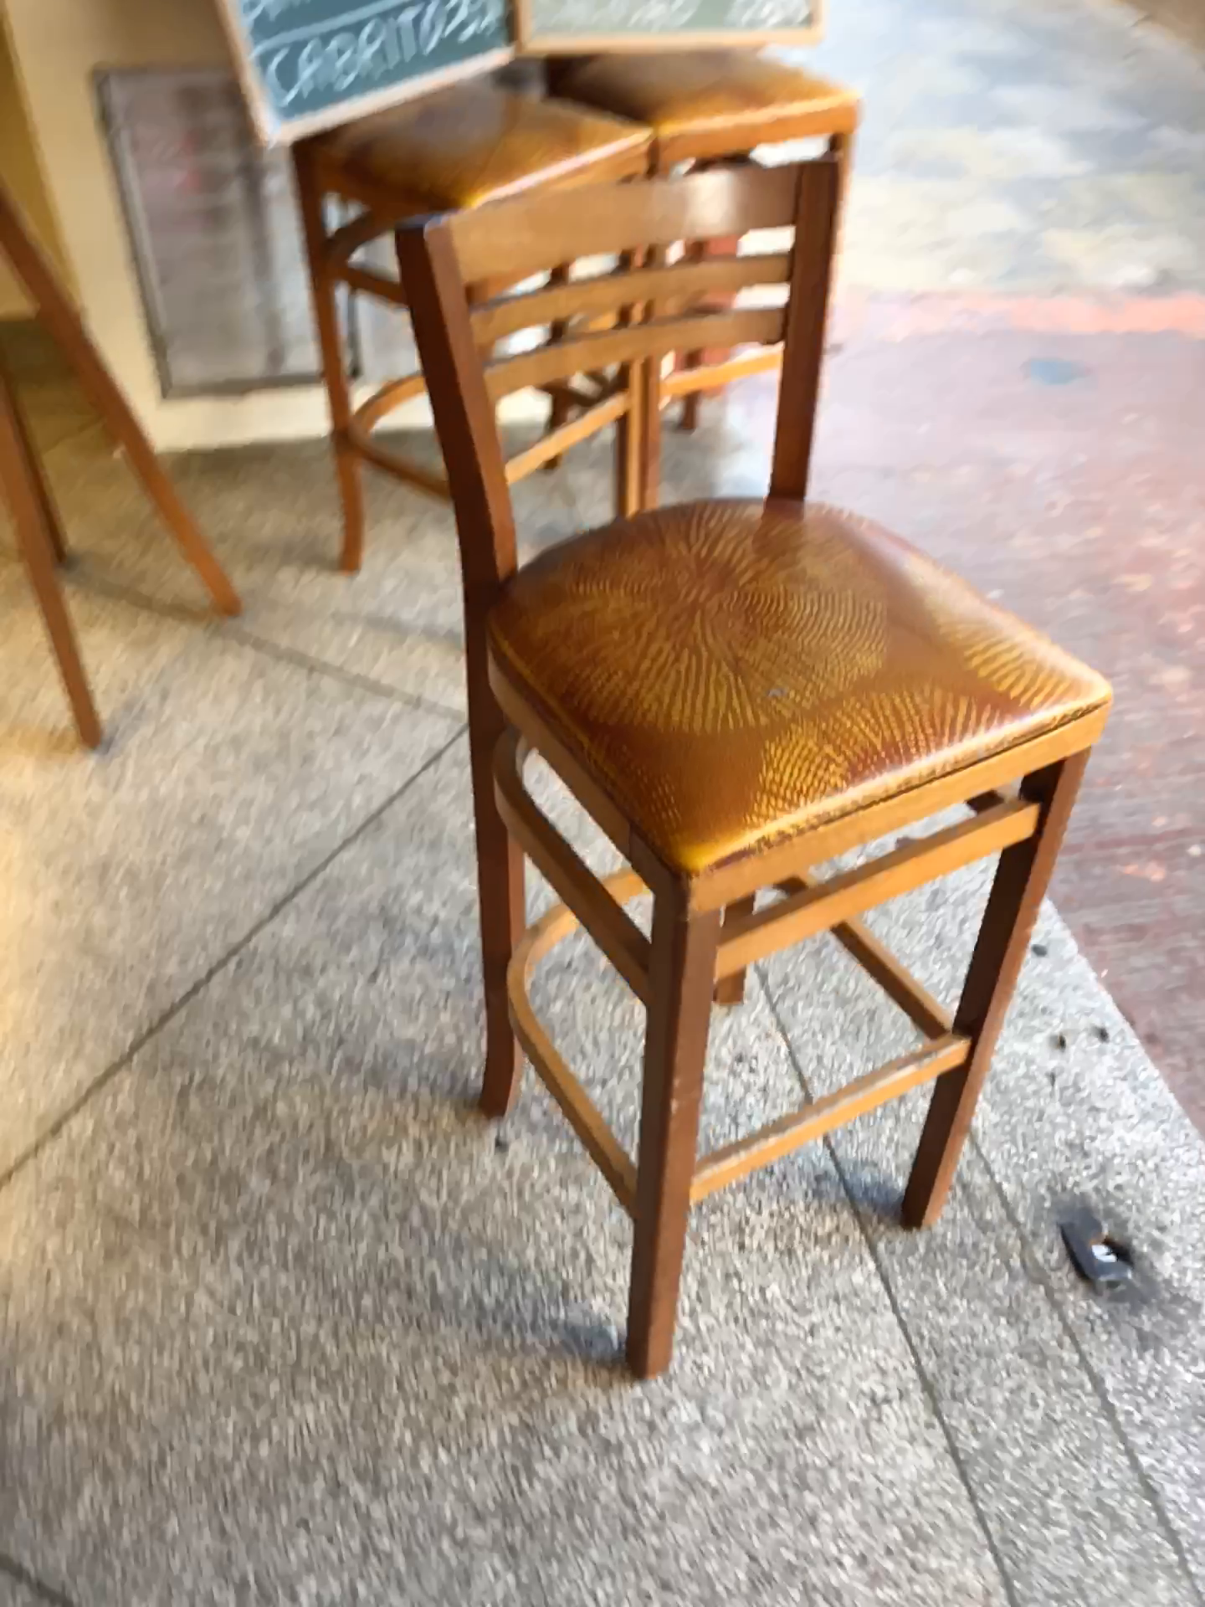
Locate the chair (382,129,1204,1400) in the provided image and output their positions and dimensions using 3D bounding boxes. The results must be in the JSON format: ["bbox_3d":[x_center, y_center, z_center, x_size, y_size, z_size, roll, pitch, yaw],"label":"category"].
[{"bbox_3d":[0.120,0.021,1.156,0.401,0.973,0.432,-19,46,-21],"label":"chair"}]
